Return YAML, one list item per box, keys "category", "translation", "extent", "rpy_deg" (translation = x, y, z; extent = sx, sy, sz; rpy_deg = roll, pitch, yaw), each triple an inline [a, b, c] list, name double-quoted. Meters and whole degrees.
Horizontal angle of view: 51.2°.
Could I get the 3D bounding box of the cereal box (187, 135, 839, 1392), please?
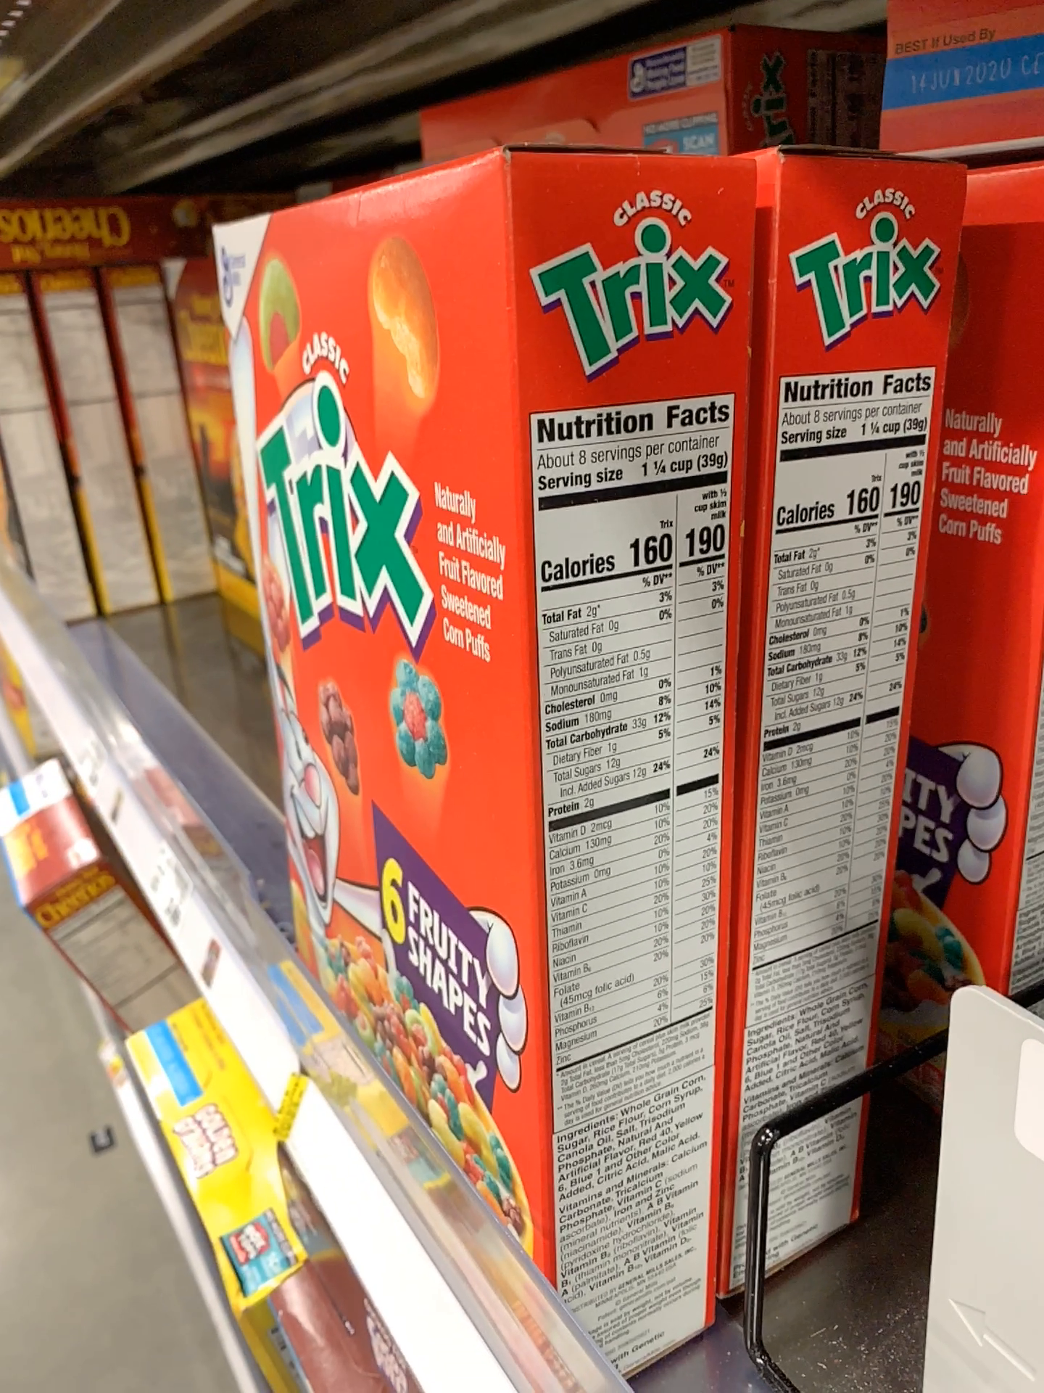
- category: "cereal box"
  translation: [-0.015, 0.017, 0.305]
  extent: [0.060, 0.289, 0.201]
  rpy_deg: [-15, 24, -27]
